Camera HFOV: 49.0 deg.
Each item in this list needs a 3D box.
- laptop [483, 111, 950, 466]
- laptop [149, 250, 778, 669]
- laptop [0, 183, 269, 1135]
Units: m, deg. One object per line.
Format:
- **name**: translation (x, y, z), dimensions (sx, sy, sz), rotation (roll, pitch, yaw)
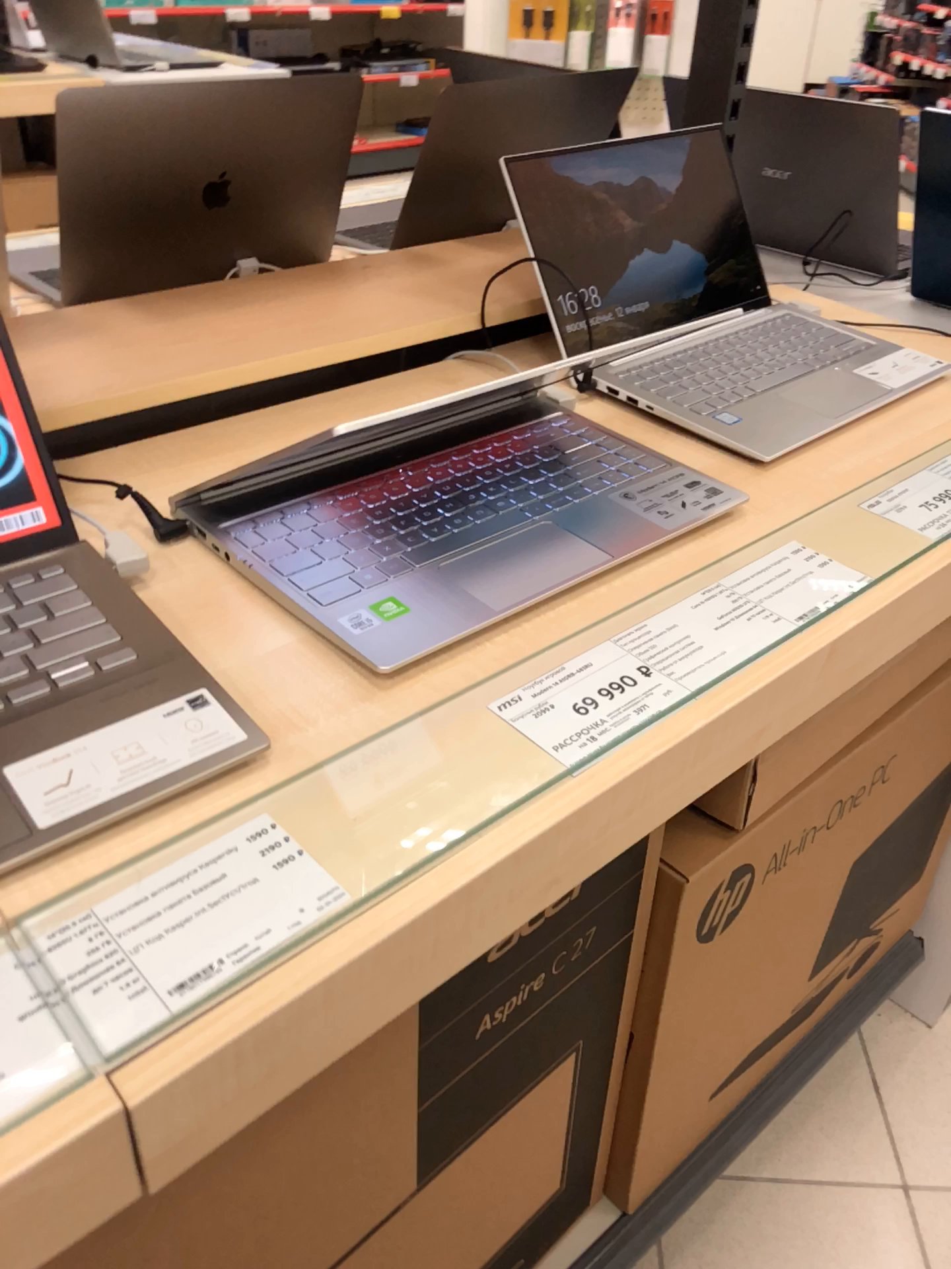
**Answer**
- **laptop**: translation (0.232, -0.327, 0.922), dimensions (0.326, 0.154, 0.301), rotation (-27, 48, -36)
- **laptop**: translation (-0.001, -0.136, 0.666), dimensions (0.321, 0.112, 0.216), rotation (-26, 45, -35)
- **laptop**: translation (-0.314, -0.050, 0.439), dimensions (0.310, 0.169, 0.314), rotation (-24, 44, -35)
